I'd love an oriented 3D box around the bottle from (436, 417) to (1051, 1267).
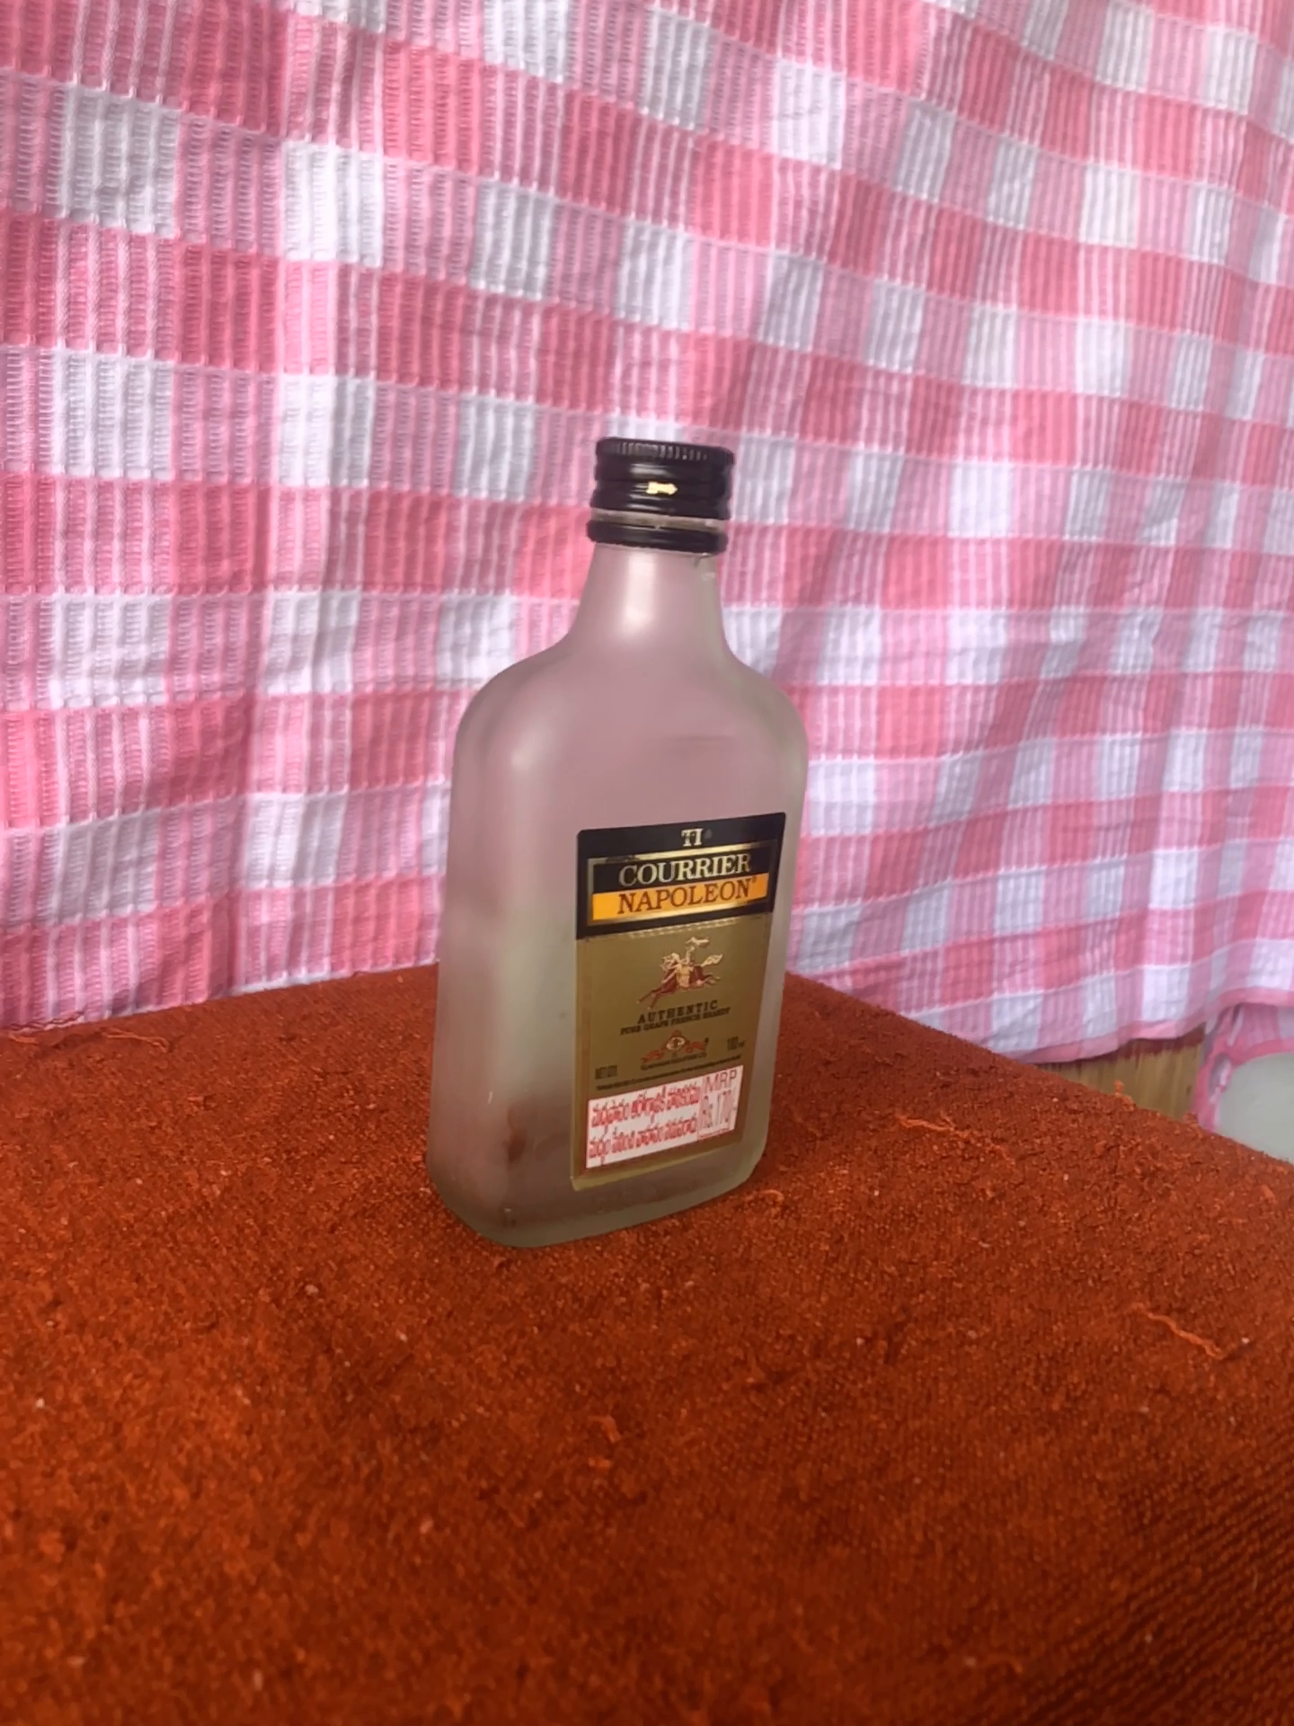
[{"bbox_3d":[0.016,-0.007,0.261,0.080,0.130,0.050,-4,18,-41],"label":"bottle"}]
